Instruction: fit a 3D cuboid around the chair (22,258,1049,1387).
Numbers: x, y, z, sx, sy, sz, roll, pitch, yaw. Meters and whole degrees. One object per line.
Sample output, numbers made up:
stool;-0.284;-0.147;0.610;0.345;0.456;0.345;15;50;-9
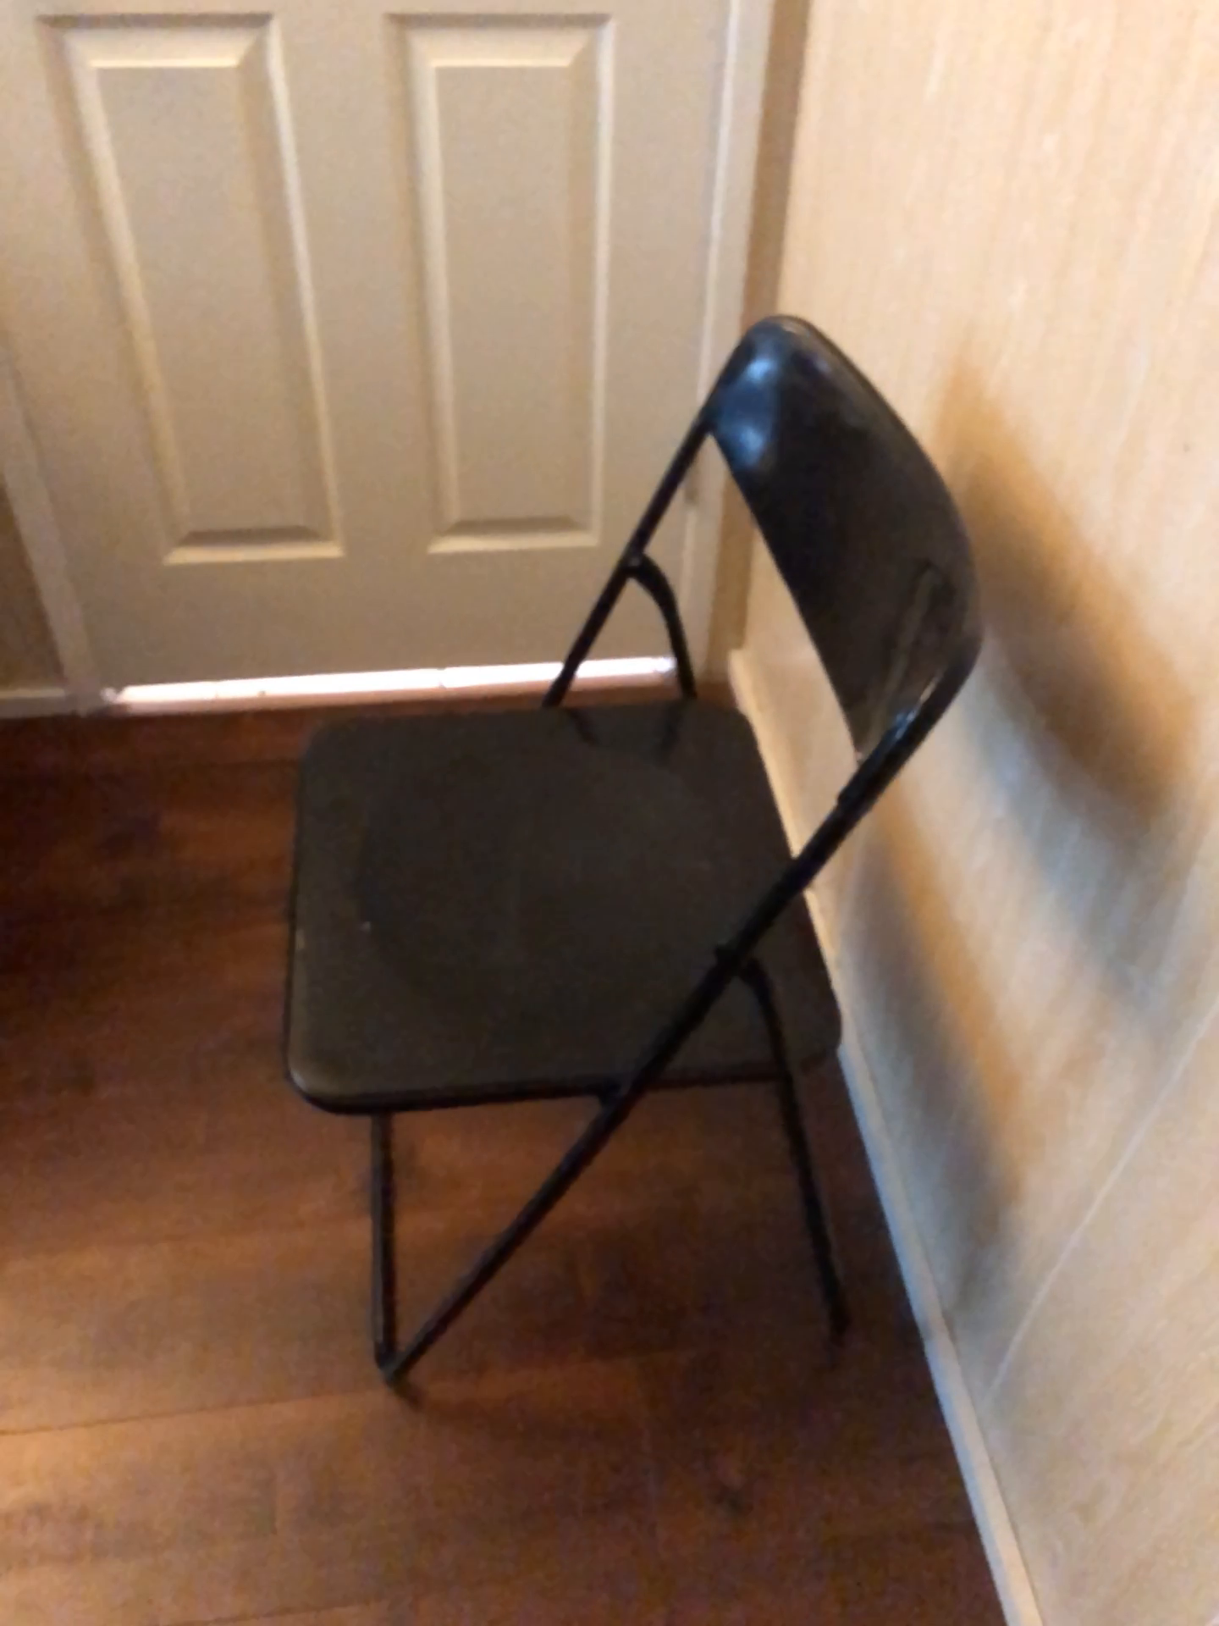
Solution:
chair;-0.061;0.023;1.022;0.470;0.666;0.493;-5;45;-6
